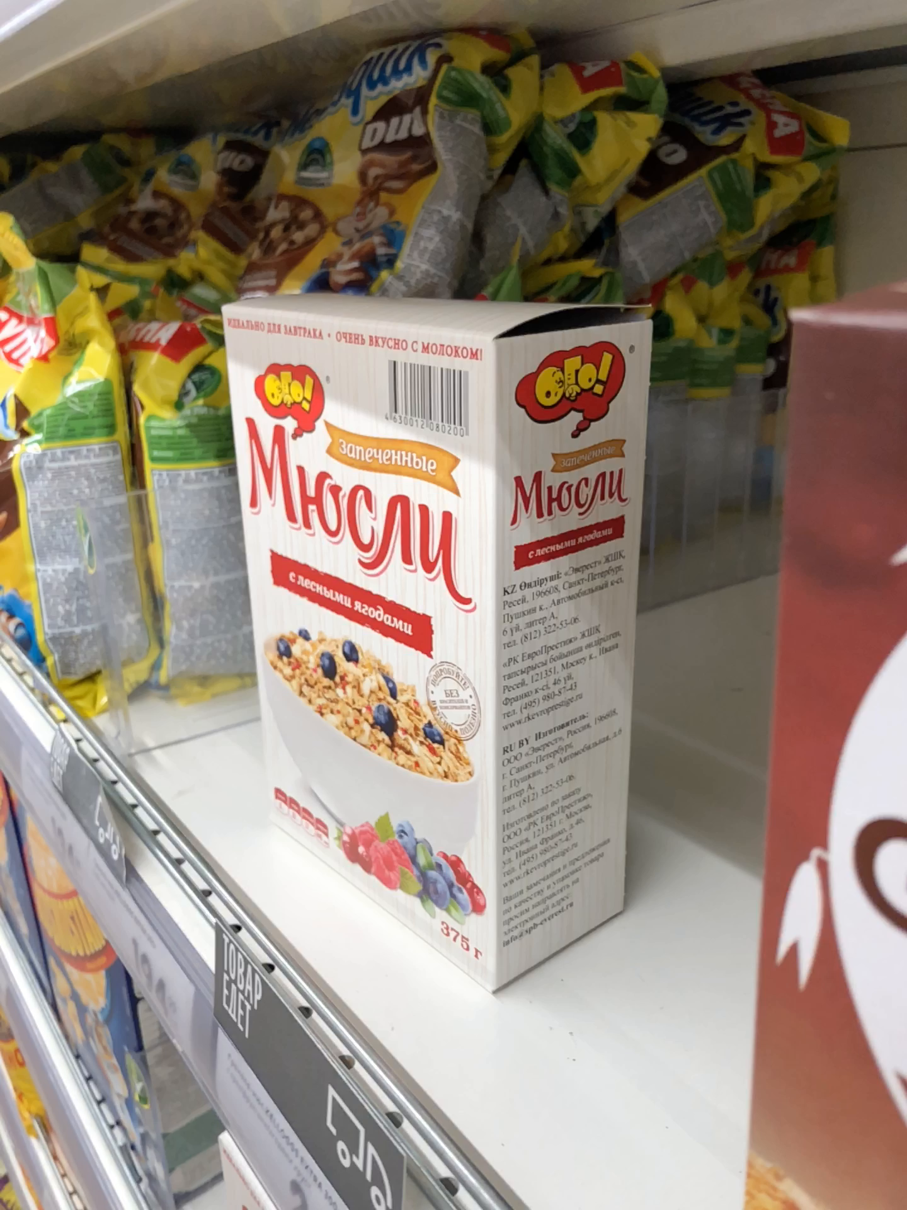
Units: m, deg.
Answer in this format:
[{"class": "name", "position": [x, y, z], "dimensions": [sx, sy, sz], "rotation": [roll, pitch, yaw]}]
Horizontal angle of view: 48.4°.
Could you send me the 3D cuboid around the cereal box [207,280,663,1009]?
[{"class": "cereal box", "position": [-0.009, 0.000, 0.332], "dimensions": [0.060, 0.199, 0.140], "rotation": [-18, 25, -37]}]
